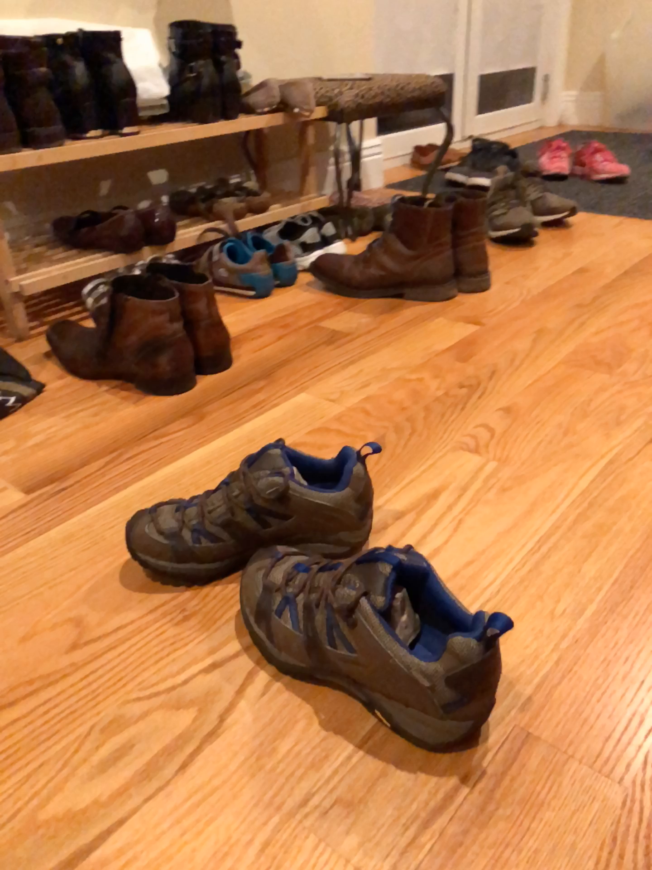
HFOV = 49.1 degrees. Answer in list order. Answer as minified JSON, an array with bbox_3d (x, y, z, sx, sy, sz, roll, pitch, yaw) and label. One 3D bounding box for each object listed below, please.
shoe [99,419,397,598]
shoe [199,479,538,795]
[{"bbox_3d":[-0.069,0.064,0.667,0.252,0.094,0.097,-7,29,-8],"label":"shoe"},{"bbox_3d":[0.024,0.138,0.548,0.240,0.106,0.095,21,37,36],"label":"shoe"}]
